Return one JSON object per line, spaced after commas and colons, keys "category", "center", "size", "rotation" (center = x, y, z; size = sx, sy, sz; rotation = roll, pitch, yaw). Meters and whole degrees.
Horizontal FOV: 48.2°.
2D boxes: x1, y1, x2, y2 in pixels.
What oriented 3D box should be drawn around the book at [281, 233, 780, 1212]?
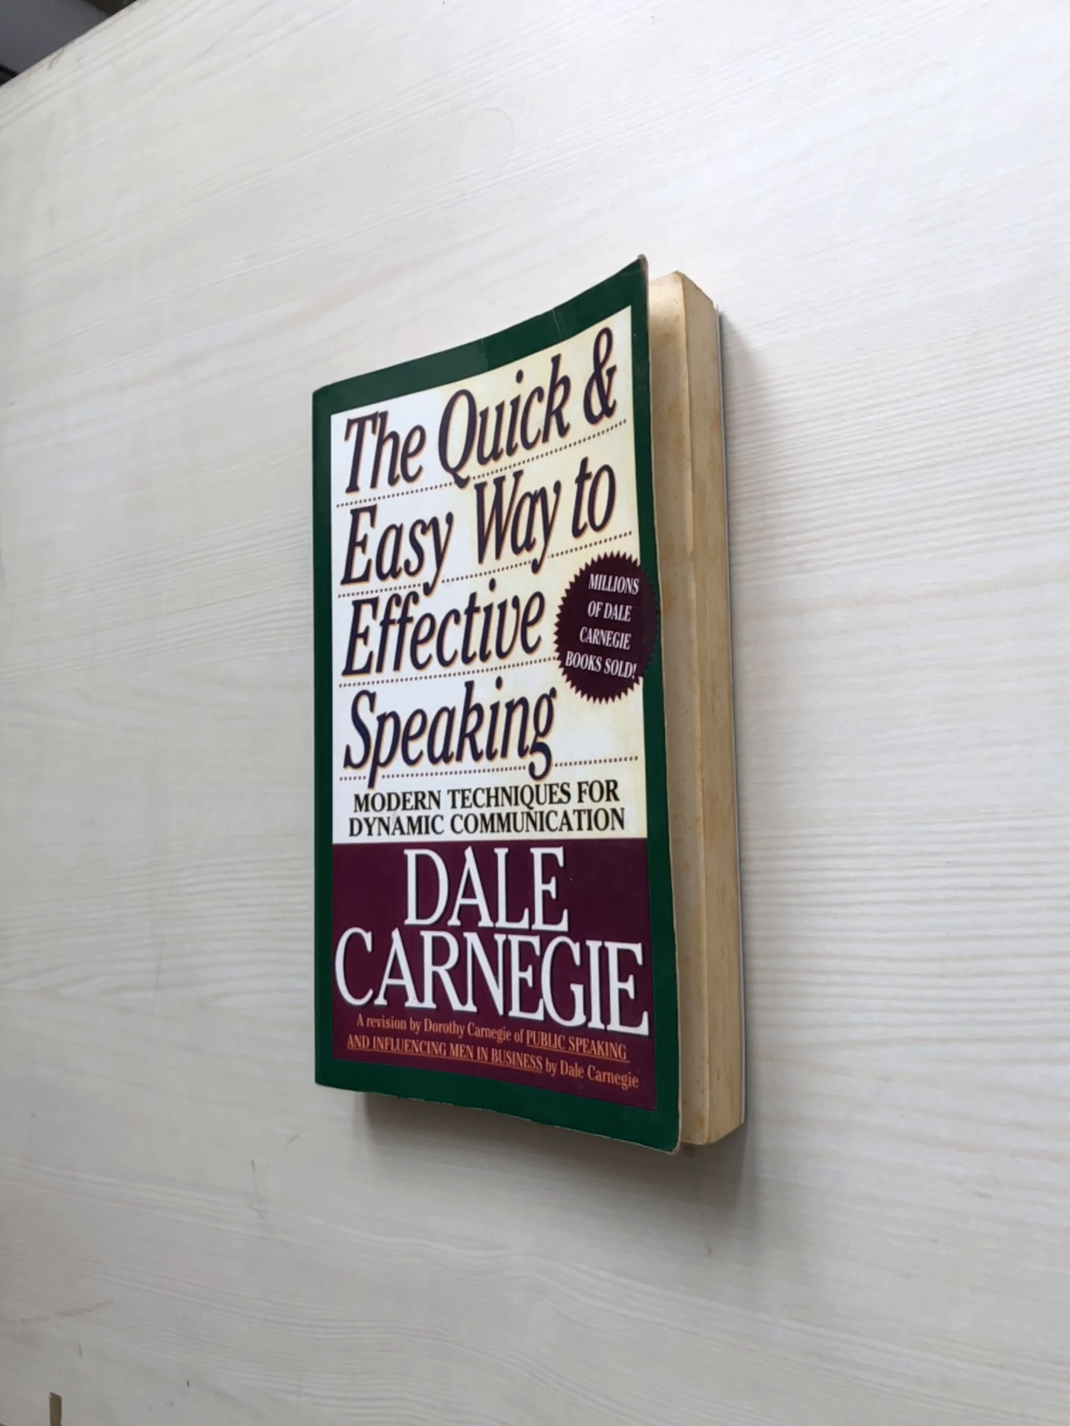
{"category": "book", "center": [-0.006, 0.003, 0.270], "size": [0.110, 0.040, 0.180], "rotation": [-4, 84, 40]}
